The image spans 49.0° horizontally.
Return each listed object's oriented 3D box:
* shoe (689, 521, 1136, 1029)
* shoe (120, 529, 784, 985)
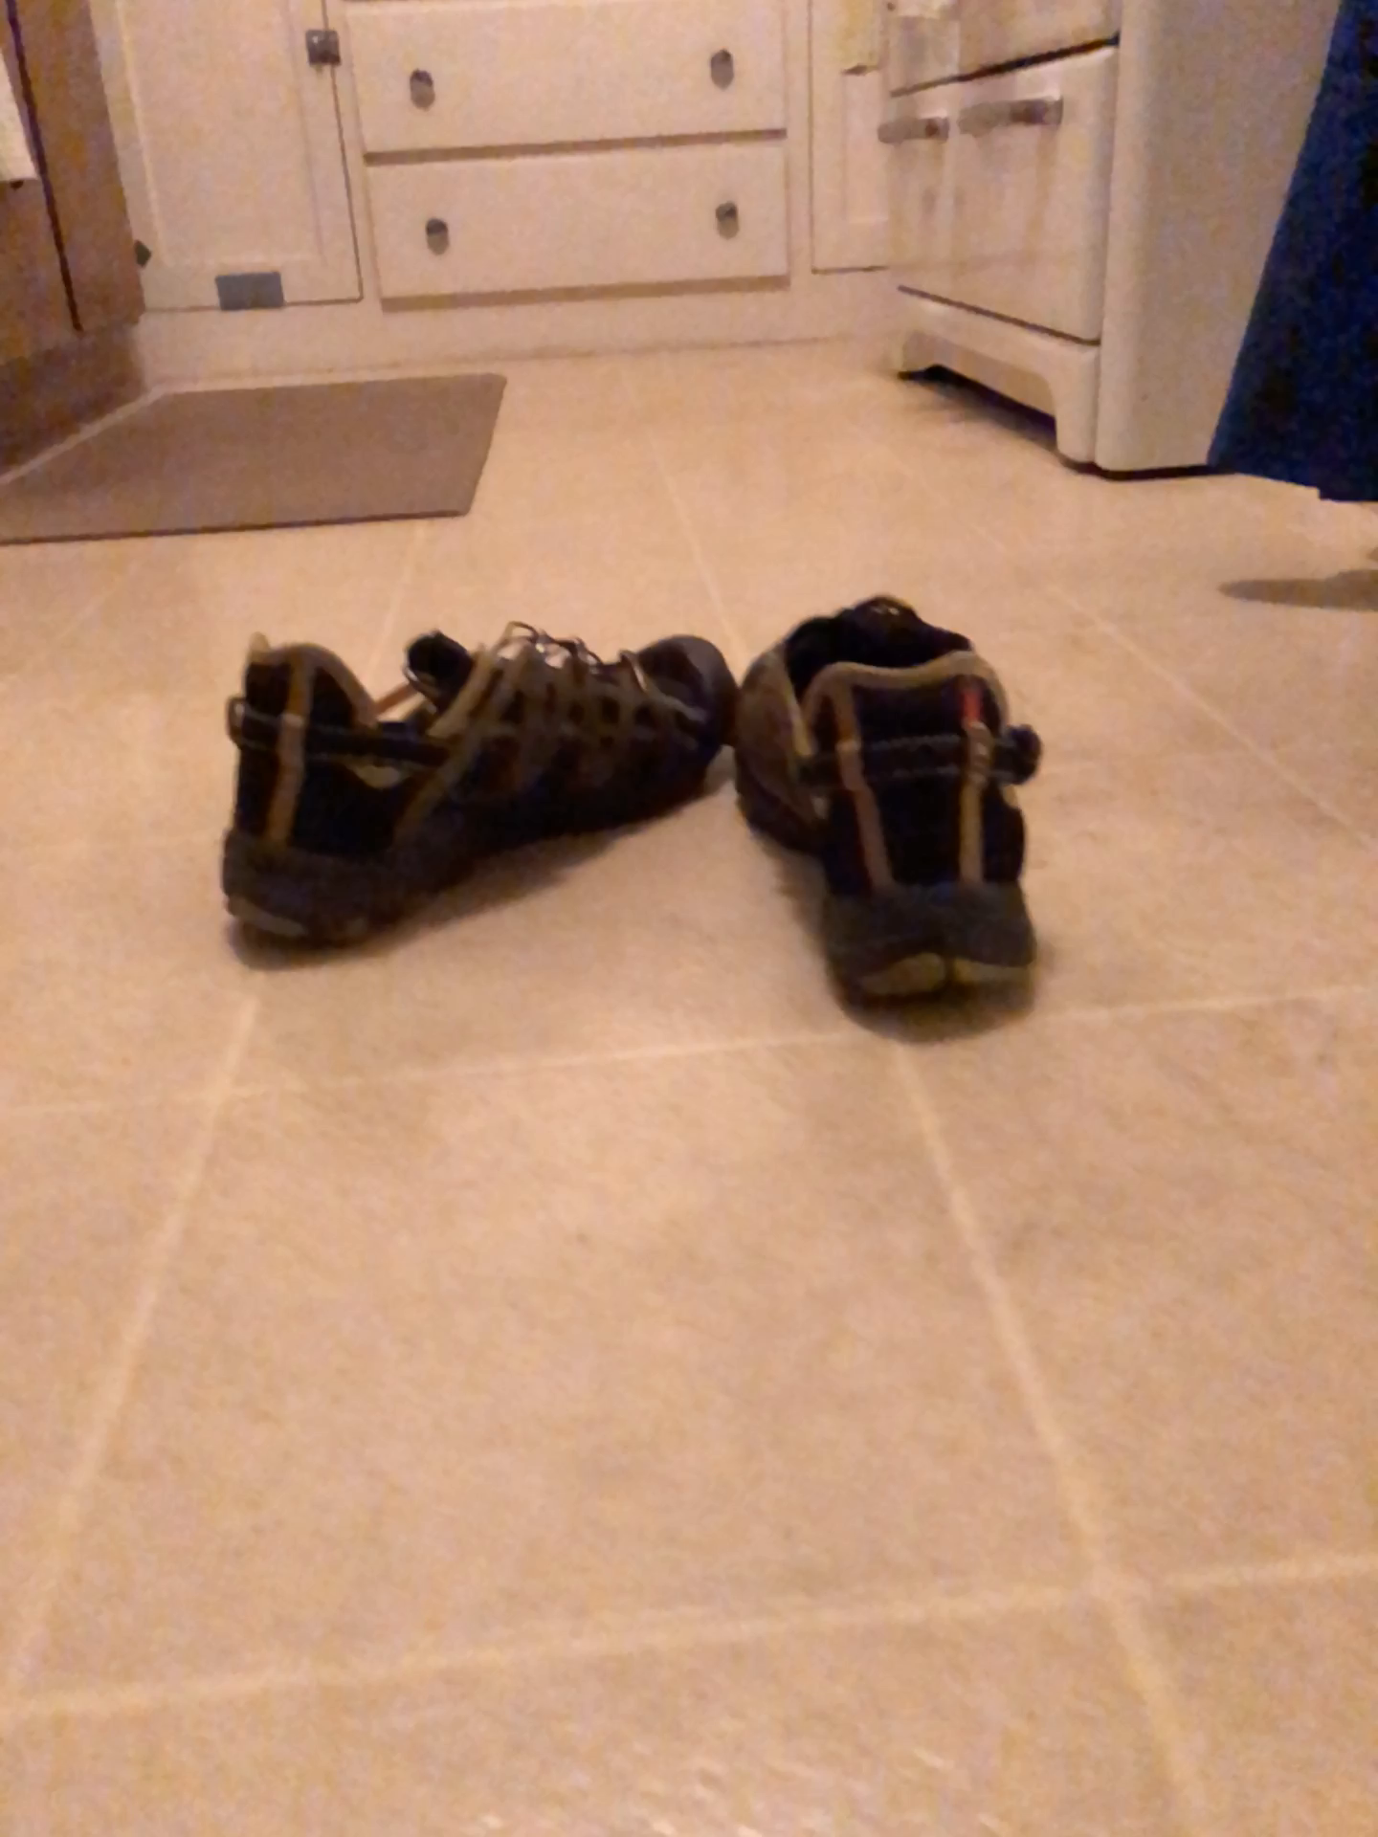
[{"bbox_3d":[0.076,-0.079,0.637,0.109,0.111,0.288,-6,26,-5],"label":"shoe"},{"bbox_3d":[-0.087,-0.086,0.671,0.100,0.109,0.280,20,34,39],"label":"shoe"}]
